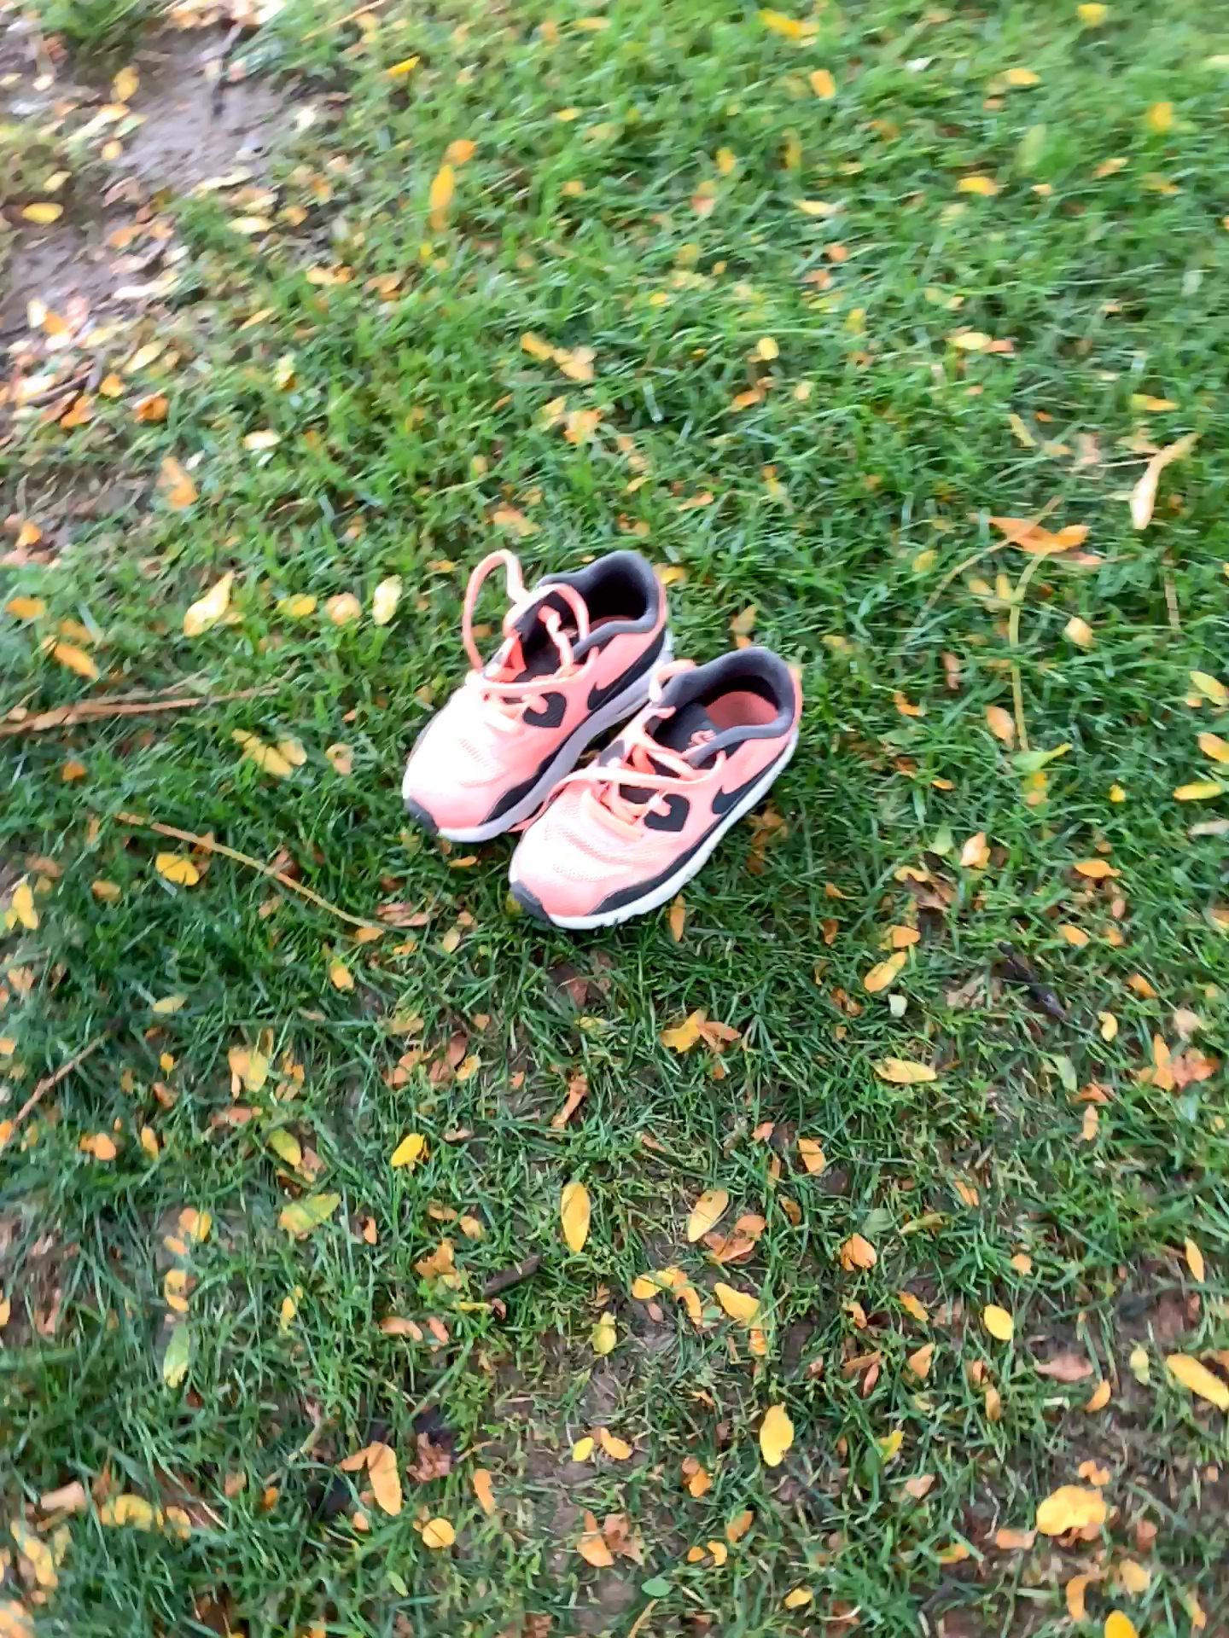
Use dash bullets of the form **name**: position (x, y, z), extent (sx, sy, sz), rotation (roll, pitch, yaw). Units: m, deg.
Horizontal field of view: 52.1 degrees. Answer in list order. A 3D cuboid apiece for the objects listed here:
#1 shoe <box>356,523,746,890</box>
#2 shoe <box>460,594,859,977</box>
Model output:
- **shoe**: position (-0.031, -0.064, 0.690), extent (0.200, 0.070, 0.080), rotation (-38, 69, -17)
- **shoe**: position (0.026, -0.020, 0.666), extent (0.200, 0.070, 0.080), rotation (-38, 69, -17)
